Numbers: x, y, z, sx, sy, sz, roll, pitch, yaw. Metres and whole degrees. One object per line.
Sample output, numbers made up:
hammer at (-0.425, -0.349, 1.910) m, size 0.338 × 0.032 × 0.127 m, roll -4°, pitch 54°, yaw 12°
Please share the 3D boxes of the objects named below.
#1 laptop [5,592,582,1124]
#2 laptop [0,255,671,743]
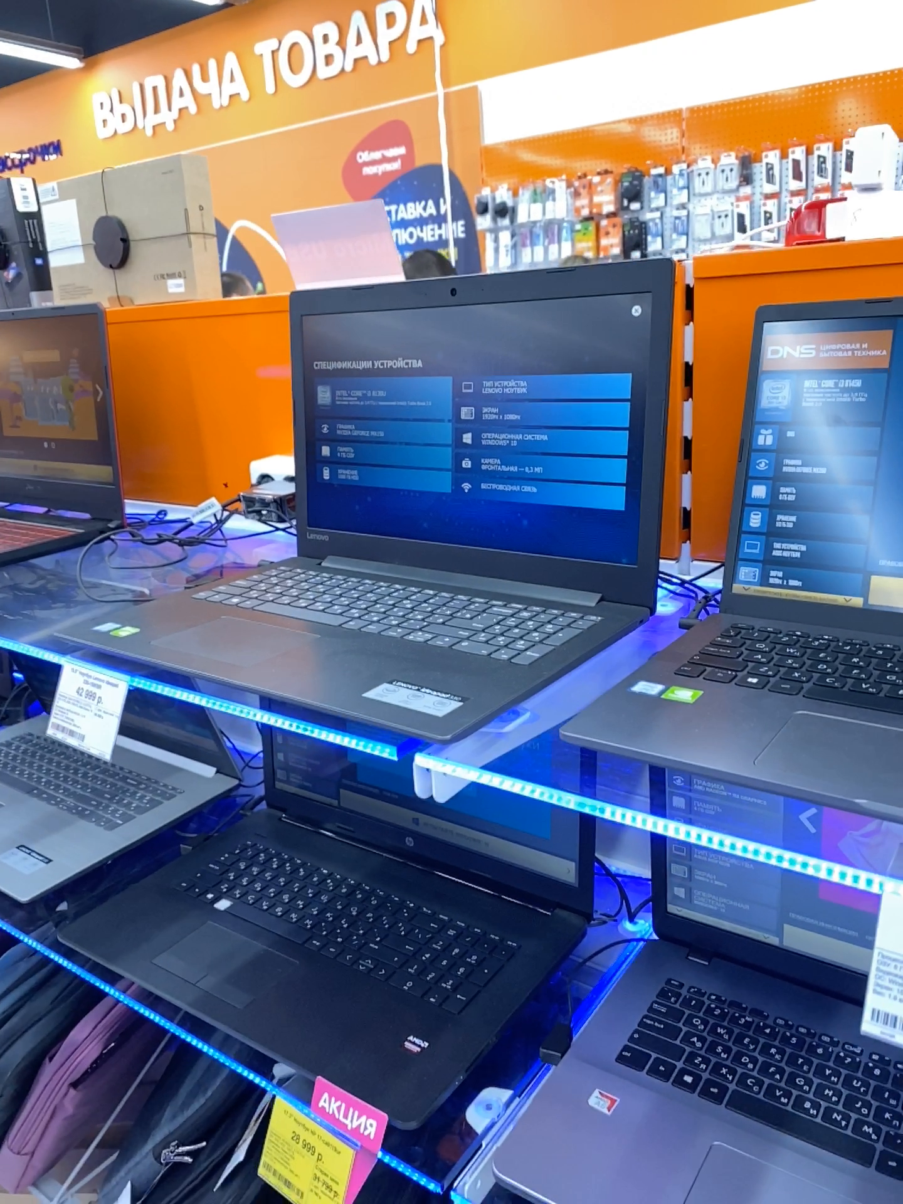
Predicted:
laptop at (-0.126, 0.170, 0.806) m, size 0.401 × 0.263 × 0.271 m, roll 8°, pitch 18°, yaw 32°
laptop at (-0.076, -0.105, 0.680) m, size 0.378 × 0.245 × 0.290 m, roll 9°, pitch 20°, yaw 35°
